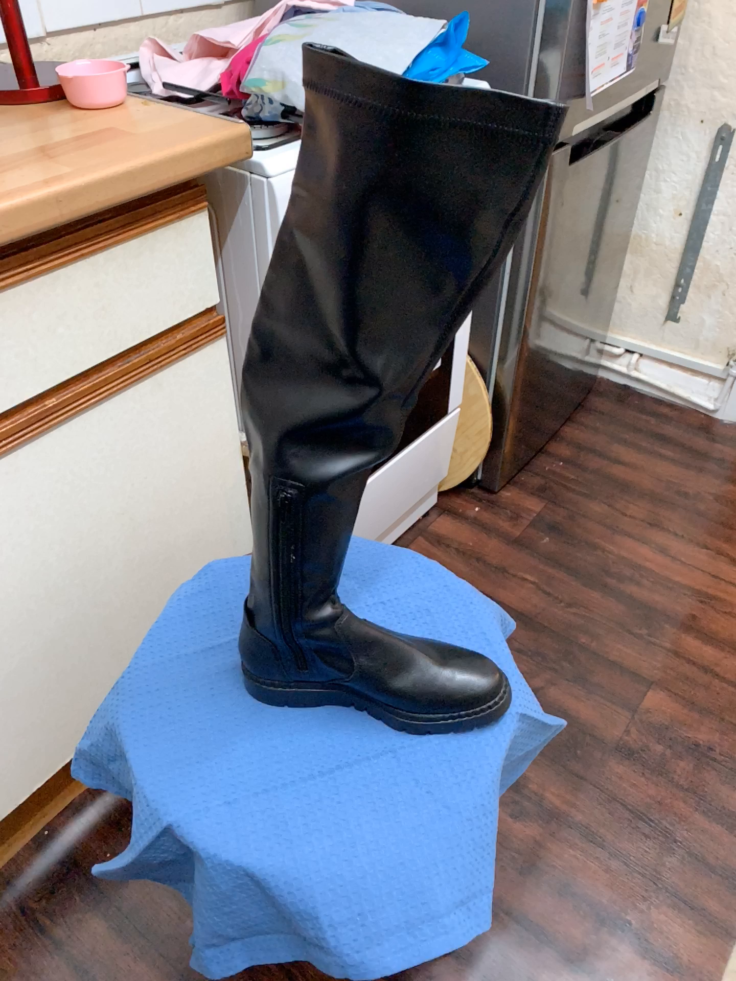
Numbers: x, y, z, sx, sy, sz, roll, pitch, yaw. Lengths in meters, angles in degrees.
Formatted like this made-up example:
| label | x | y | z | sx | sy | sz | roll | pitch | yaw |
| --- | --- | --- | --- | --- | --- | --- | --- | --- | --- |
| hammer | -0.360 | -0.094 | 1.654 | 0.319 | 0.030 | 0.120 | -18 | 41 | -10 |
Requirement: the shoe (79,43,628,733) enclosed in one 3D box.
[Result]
| label | x | y | z | sx | sy | sz | roll | pitch | yaw |
| --- | --- | --- | --- | --- | --- | --- | --- | --- | --- |
| shoe | -0.001 | -0.026 | 0.577 | 0.271 | 0.535 | 0.107 | 4 | 40 | 7 |
